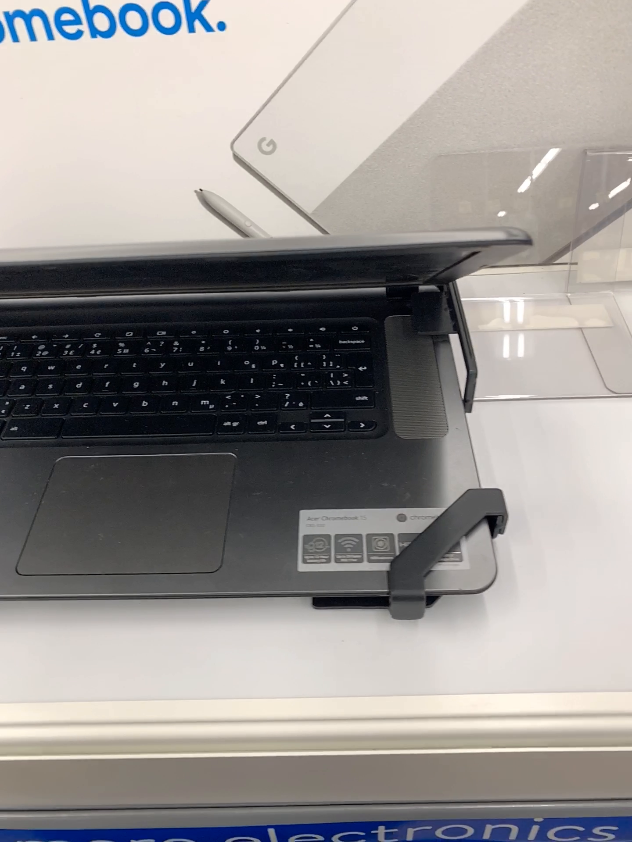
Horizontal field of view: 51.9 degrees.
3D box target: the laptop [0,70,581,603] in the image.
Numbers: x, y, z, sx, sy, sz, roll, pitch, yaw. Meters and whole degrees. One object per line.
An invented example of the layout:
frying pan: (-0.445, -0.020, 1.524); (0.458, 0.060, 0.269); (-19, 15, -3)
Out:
laptop: (-0.082, -0.043, 0.275); (0.303, 0.119, 0.198); (-1, 46, 3)
